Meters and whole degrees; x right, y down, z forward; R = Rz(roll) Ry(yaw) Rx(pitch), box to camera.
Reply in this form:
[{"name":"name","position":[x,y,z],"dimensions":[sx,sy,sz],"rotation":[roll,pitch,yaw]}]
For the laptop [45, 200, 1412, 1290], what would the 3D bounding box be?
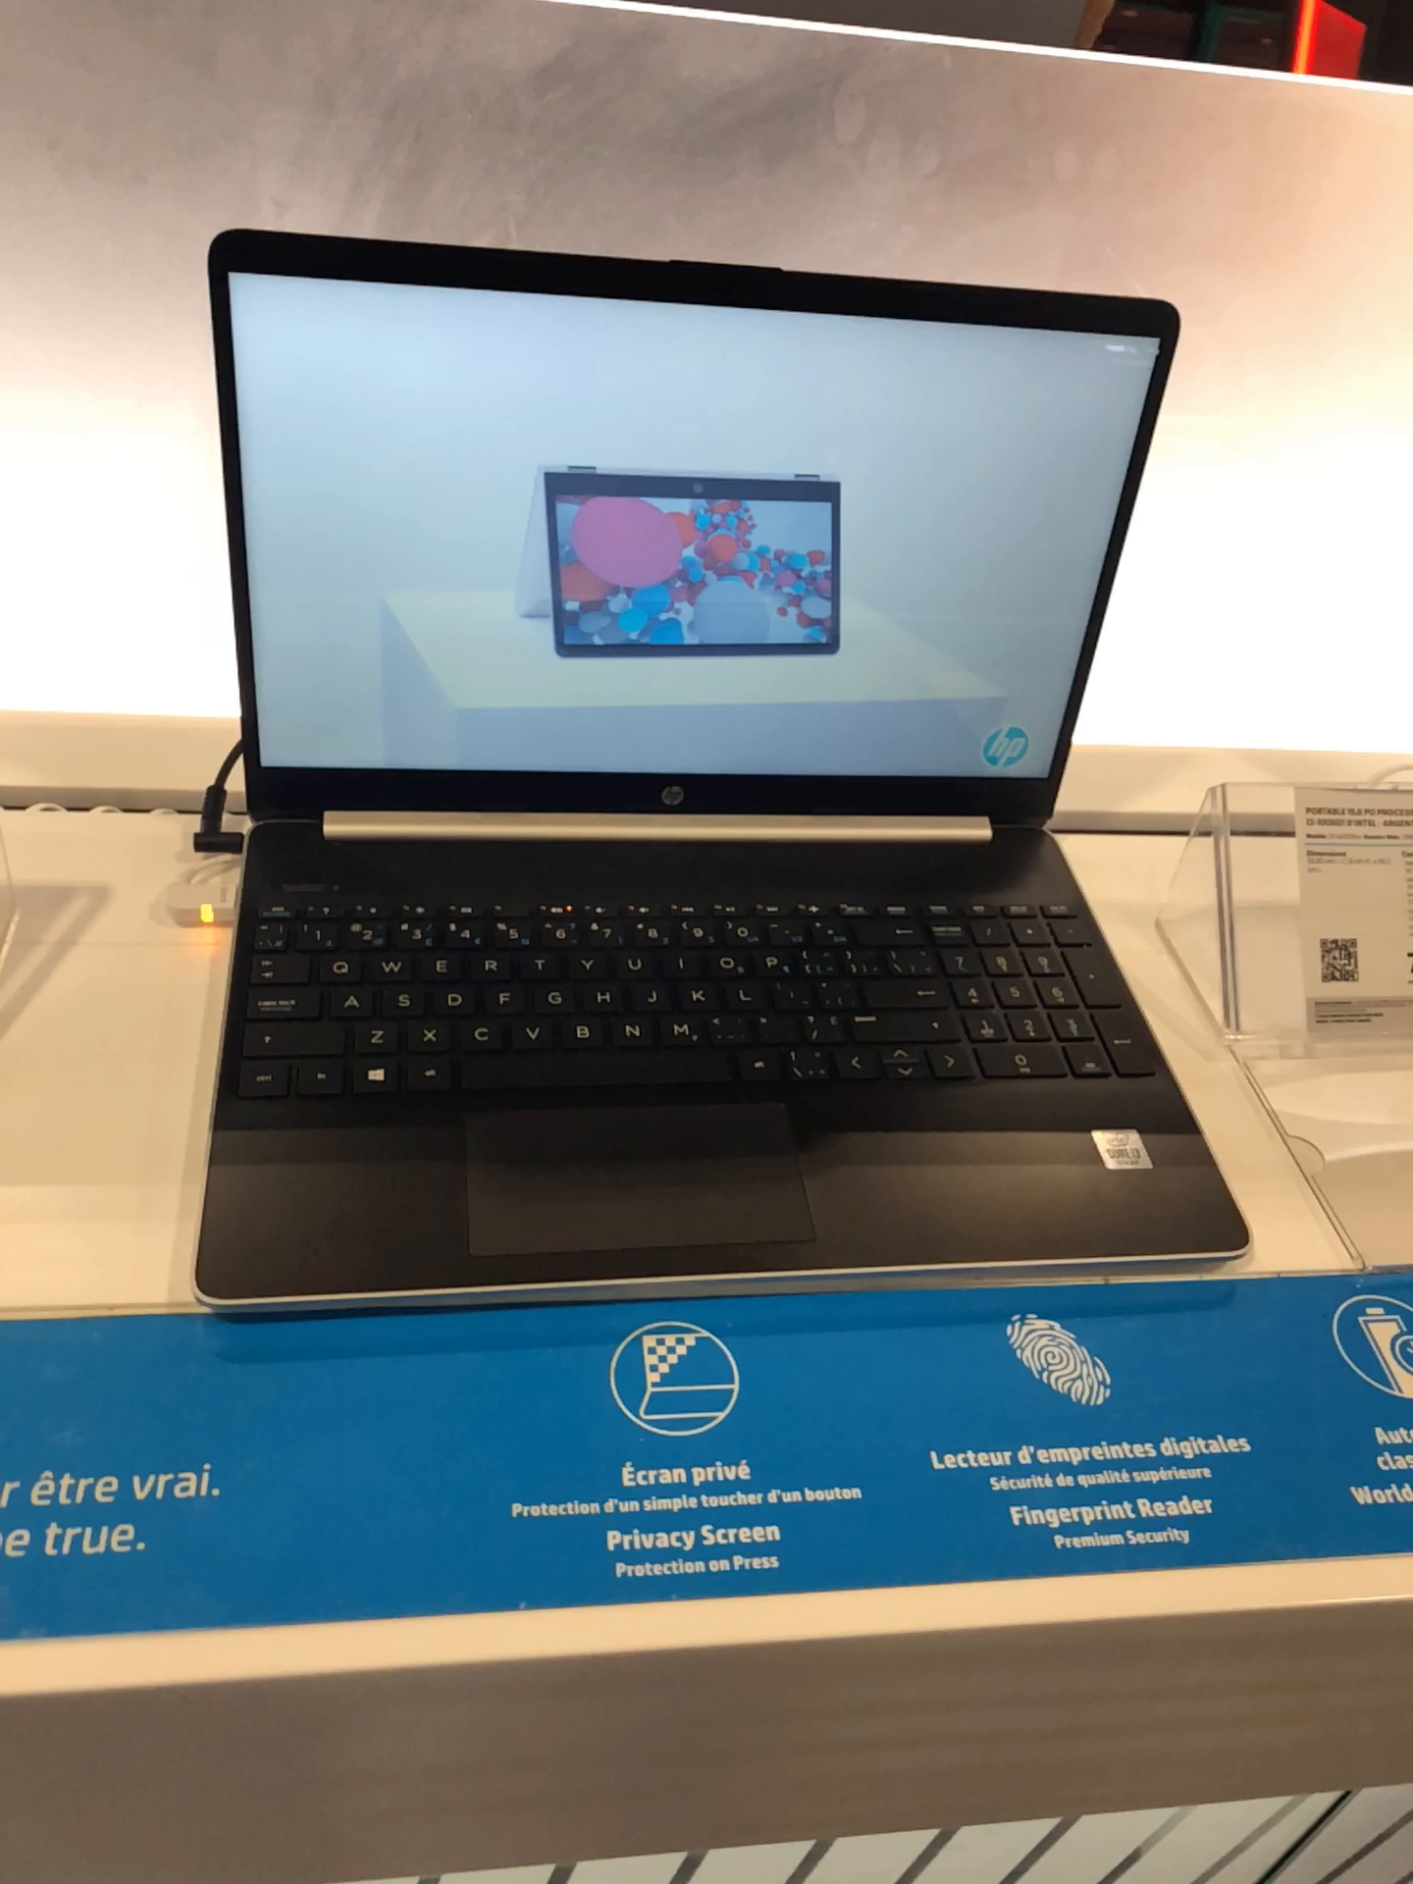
[{"name":"laptop","position":[0.004,-0.075,0.534],"dimensions":[0.355,0.221,0.284],"rotation":[0,42,-10]}]
